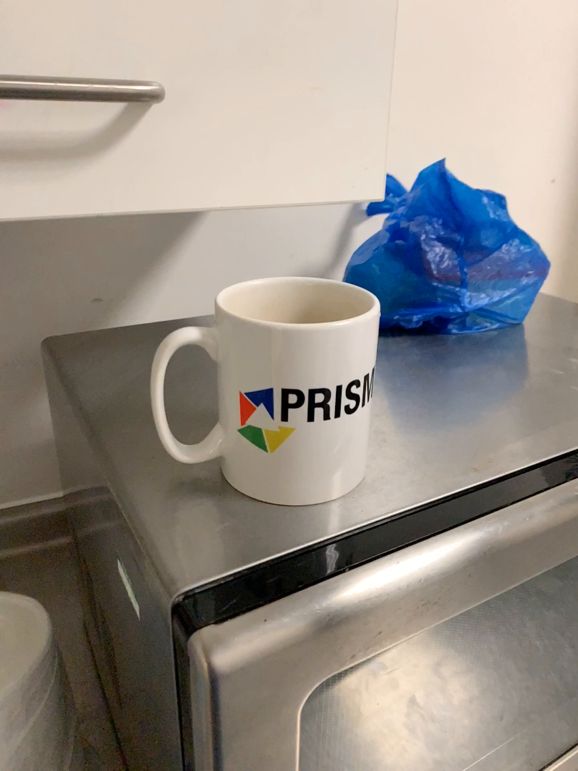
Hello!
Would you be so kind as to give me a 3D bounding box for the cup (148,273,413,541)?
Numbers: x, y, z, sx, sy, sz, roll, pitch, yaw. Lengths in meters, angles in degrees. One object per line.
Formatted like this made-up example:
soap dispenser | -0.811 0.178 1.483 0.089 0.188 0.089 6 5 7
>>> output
cup | -0.012 0.004 0.311 0.113 0.099 0.095 -4 24 -11
